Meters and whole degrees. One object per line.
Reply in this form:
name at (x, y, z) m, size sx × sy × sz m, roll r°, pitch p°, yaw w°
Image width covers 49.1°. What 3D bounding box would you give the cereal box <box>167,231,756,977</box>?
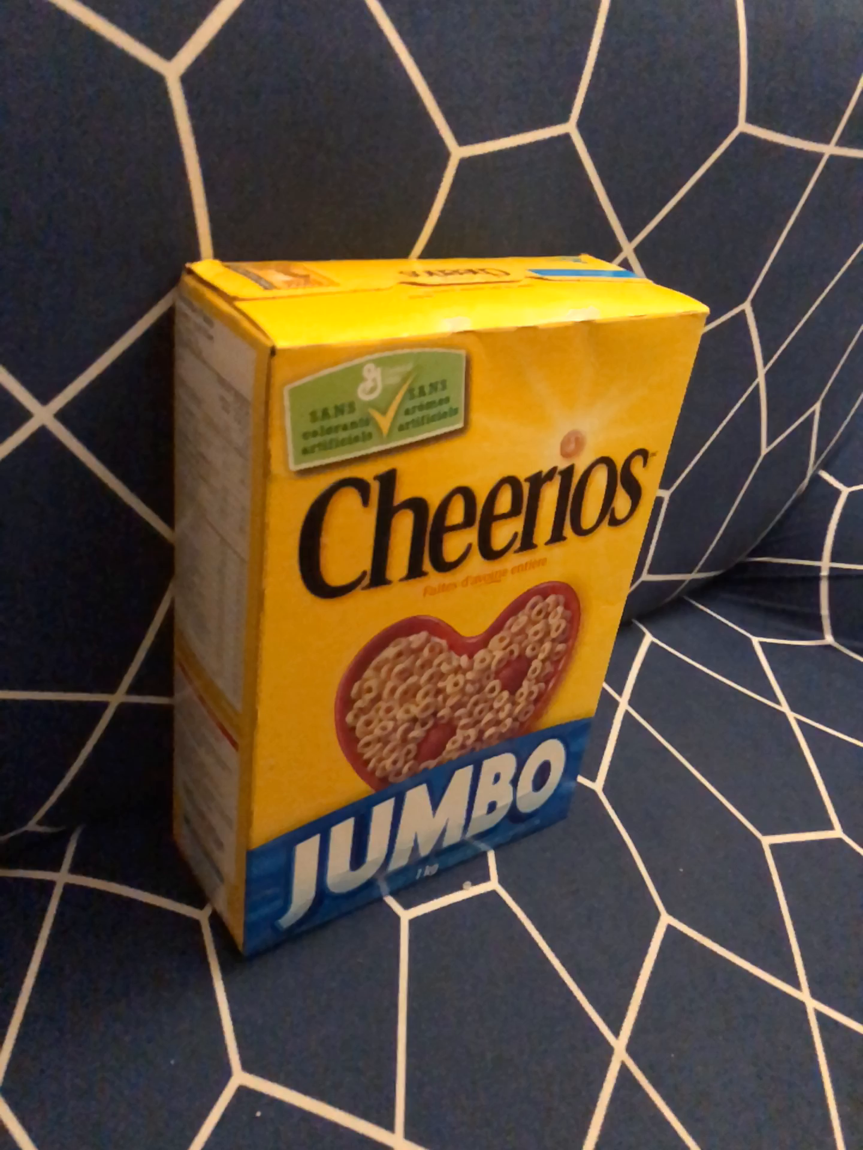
cereal box at (0.001, 0.008, 0.415) m, size 0.210 × 0.289 × 0.080 m, roll -14°, pitch 37°, yaw -34°
